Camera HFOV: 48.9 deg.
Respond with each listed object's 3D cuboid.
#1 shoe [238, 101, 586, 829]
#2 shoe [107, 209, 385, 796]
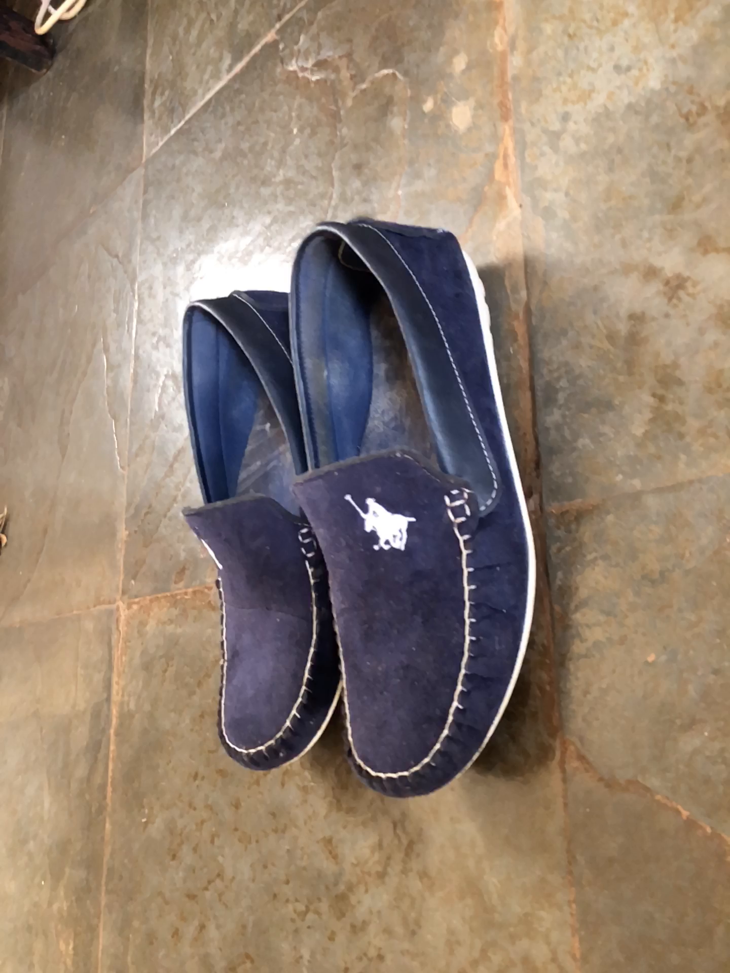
[{"bbox_3d":[0.016,-0.006,0.342,0.100,0.090,0.260,-15,70,46],"label":"shoe"},{"bbox_3d":[-0.059,0.011,0.413,0.100,0.090,0.260,-15,70,46],"label":"shoe"}]
